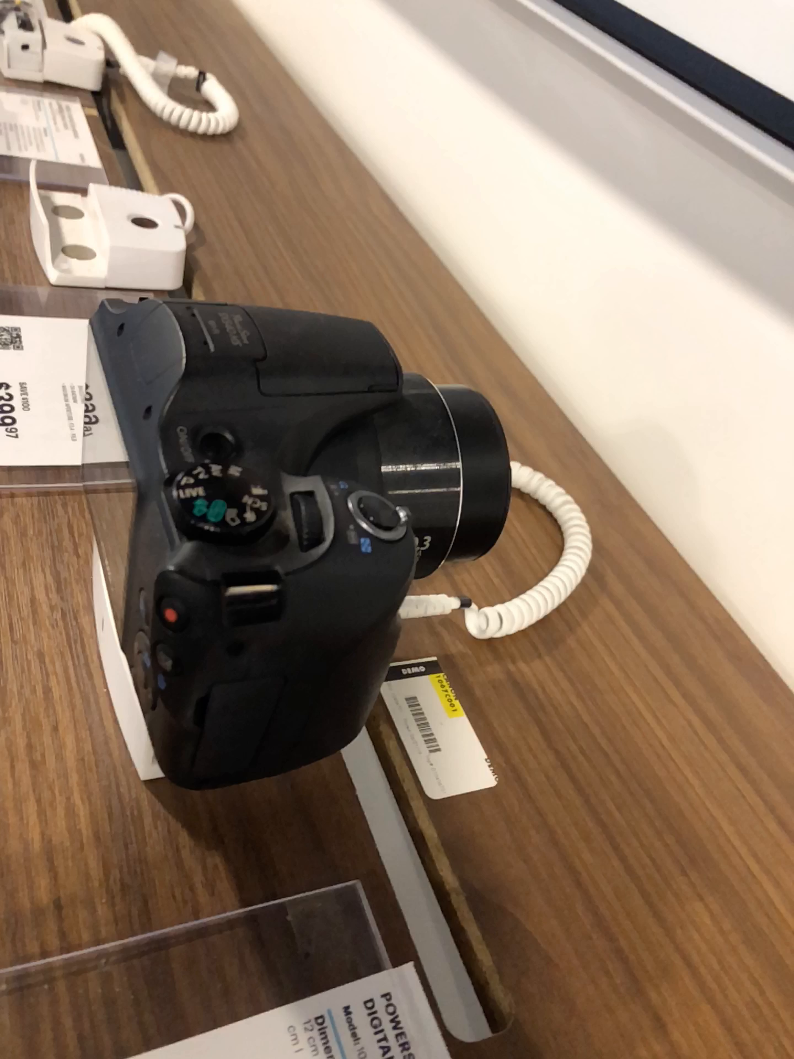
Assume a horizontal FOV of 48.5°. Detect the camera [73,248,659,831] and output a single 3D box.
[{"bbox_3d":[-0.020,-0.006,0.237,0.101,0.079,0.121,-5,45,-30],"label":"camera"}]
